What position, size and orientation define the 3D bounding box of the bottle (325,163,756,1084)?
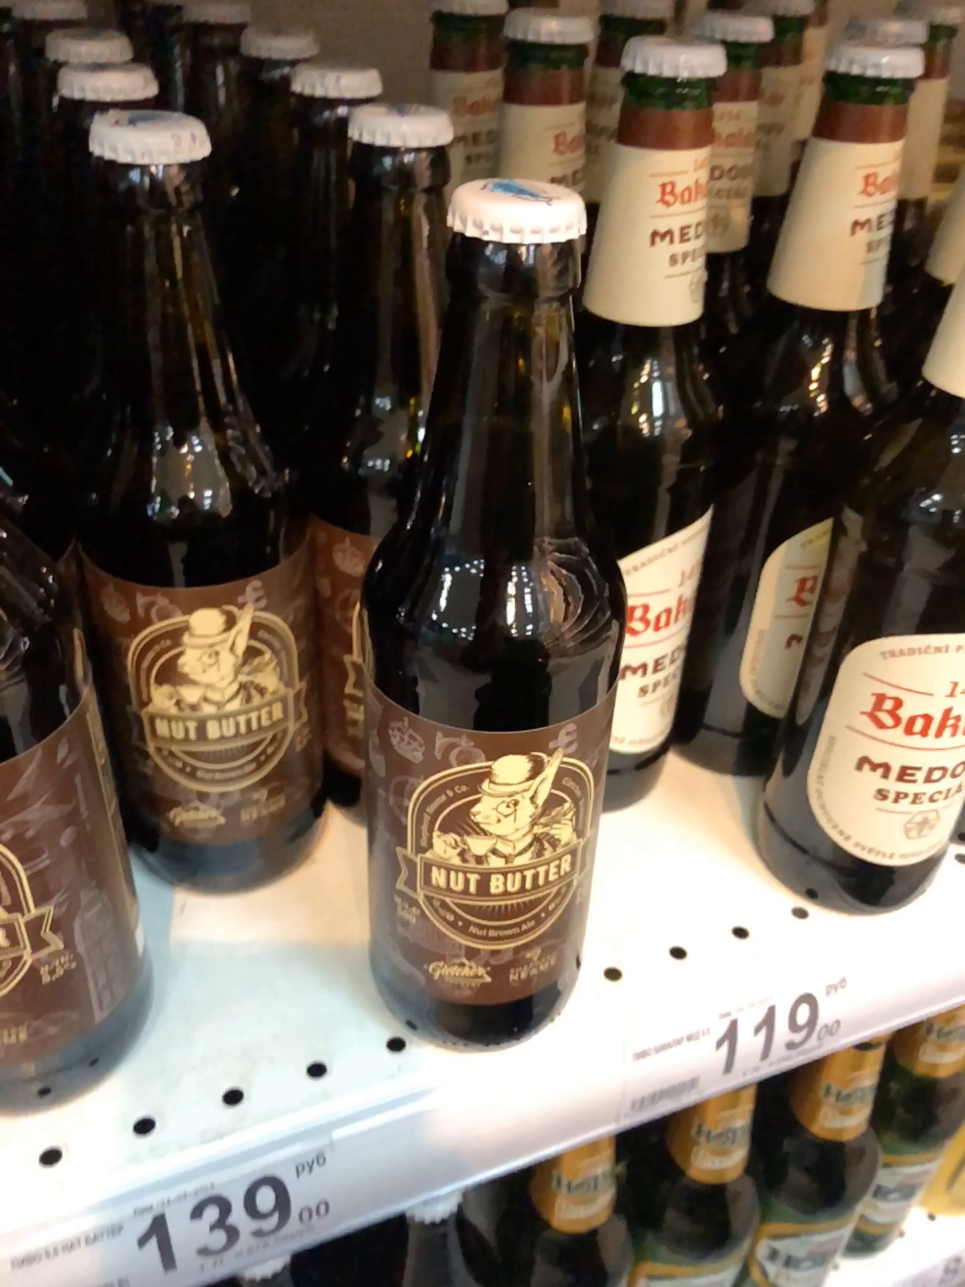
[{"bbox_3d":[0.003,0.010,0.281,0.070,0.239,0.060,-7,36,-14],"label":"bottle"}]
